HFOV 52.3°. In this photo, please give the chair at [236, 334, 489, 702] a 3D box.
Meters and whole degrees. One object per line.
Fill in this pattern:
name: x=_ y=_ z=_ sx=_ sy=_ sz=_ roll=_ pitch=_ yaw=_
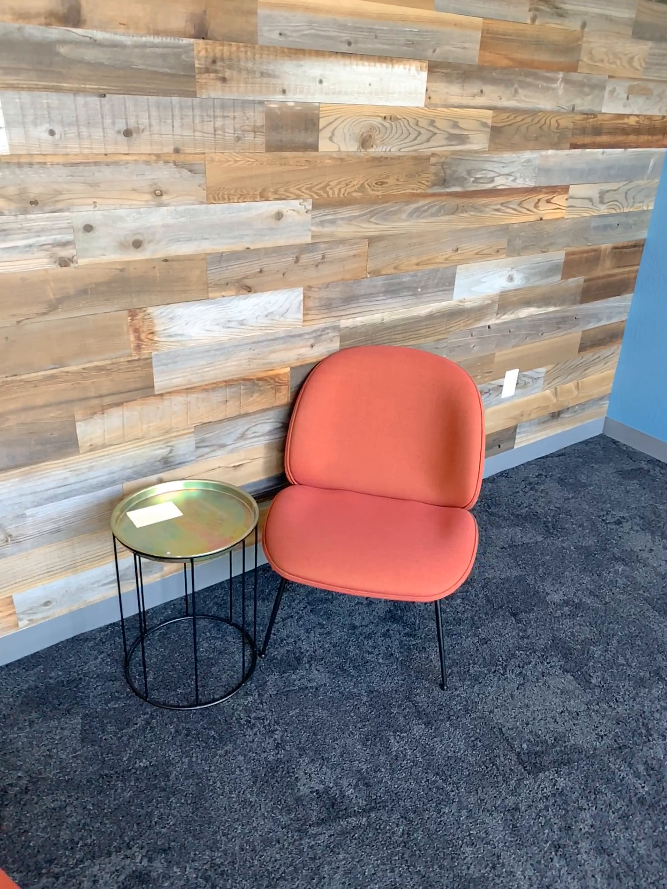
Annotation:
chair: x=0.096 y=0.168 z=2.006 sx=0.570 sy=0.756 sz=0.714 roll=5 pitch=27 yaw=6
